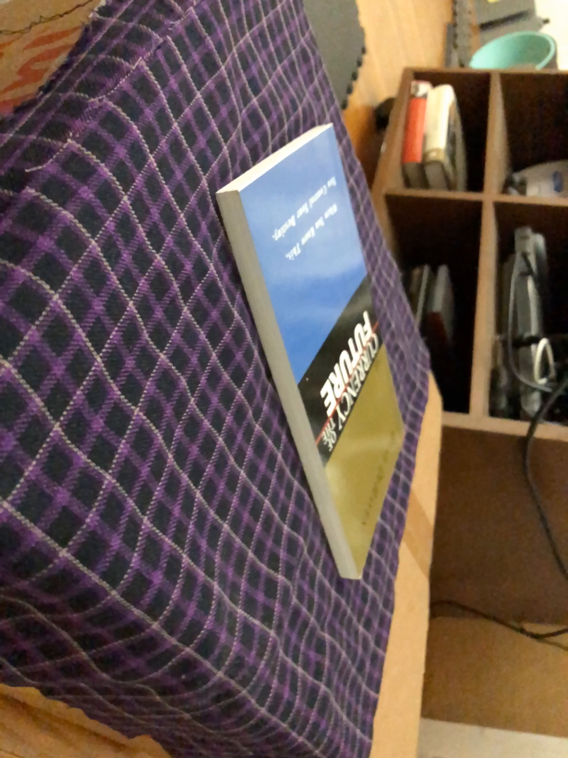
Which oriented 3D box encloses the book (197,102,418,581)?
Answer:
[{"bbox_3d":[0.031,-0.024,0.353,0.151,0.020,0.220,-57,135,-53],"label":"book"}]
